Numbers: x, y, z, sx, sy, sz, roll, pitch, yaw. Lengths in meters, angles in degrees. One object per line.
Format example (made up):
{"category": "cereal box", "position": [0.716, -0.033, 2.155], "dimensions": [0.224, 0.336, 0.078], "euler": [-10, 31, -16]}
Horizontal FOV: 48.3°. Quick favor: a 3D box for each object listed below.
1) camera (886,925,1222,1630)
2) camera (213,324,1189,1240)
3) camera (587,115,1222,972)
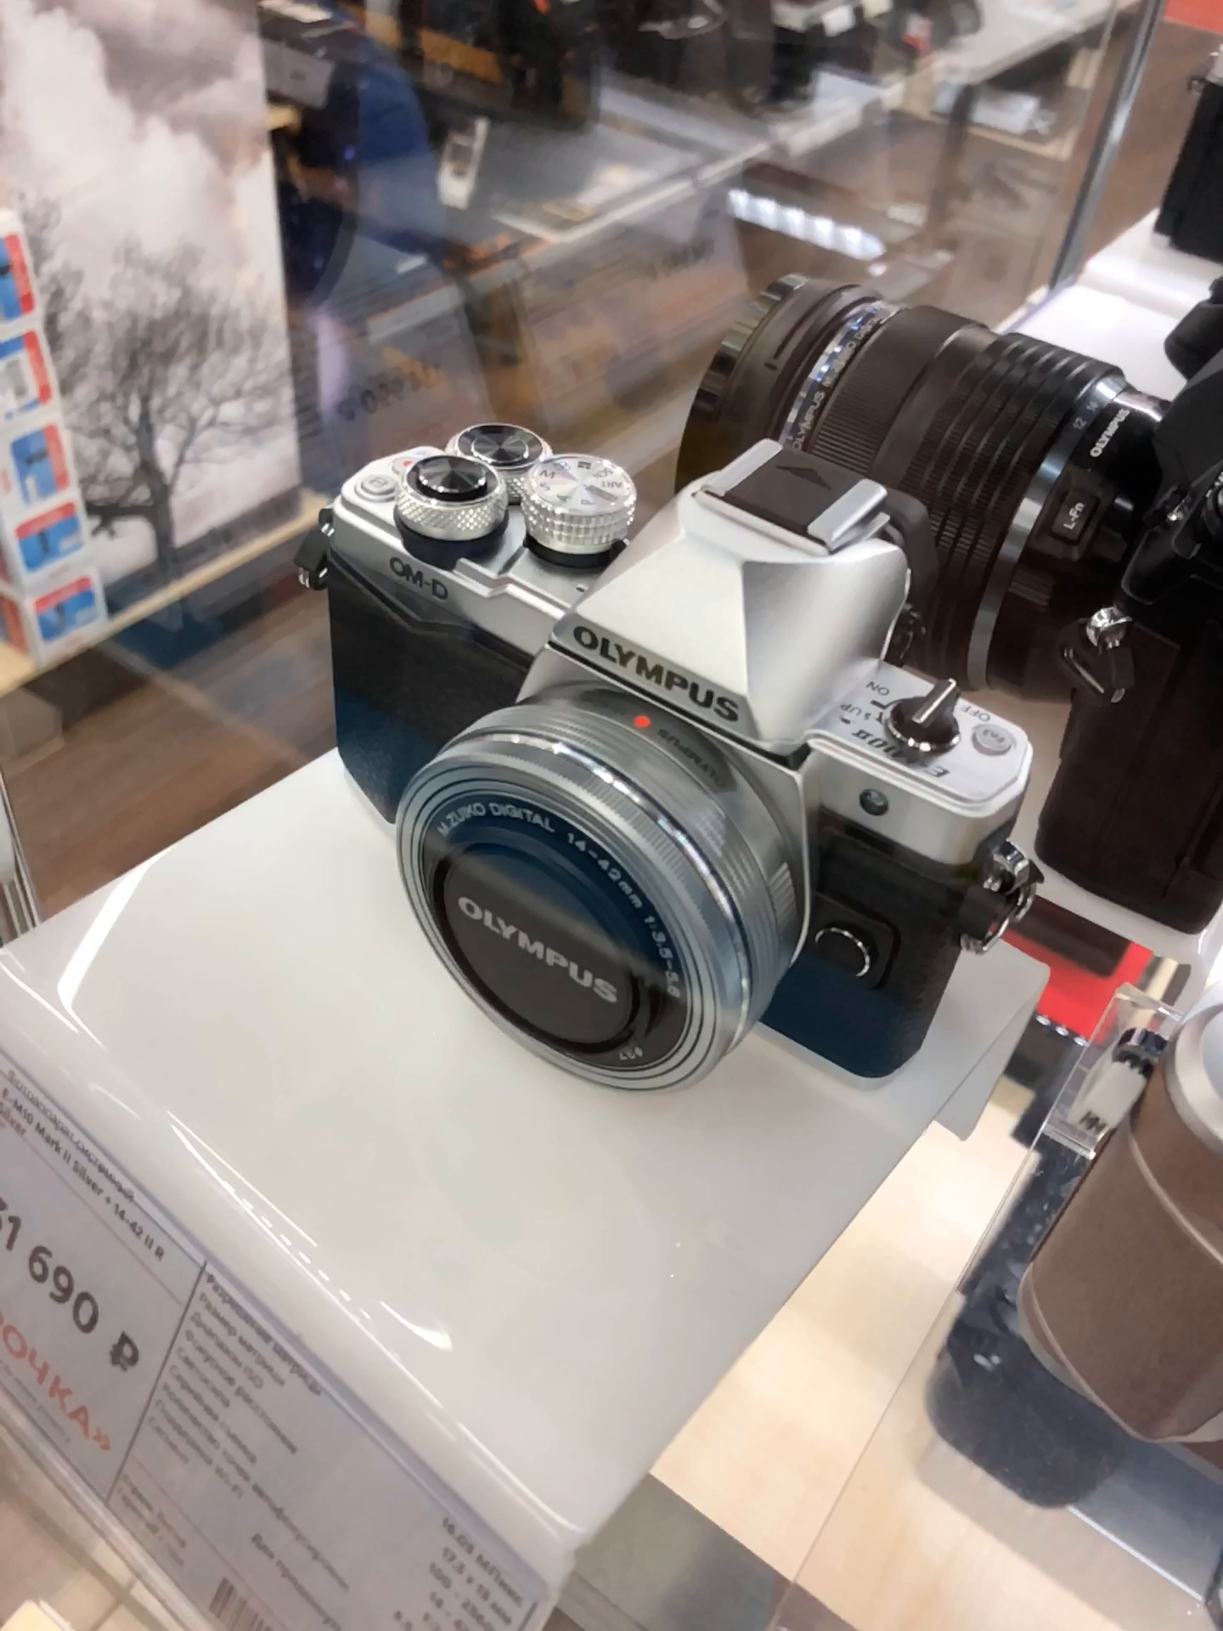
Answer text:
{"category": "camera", "position": [0.114, 0.085, 0.152], "dimensions": [0.139, 0.062, 0.065], "euler": [29, 48, 21]}
{"category": "camera", "position": [0.009, -0.011, 0.221], "dimensions": [0.120, 0.080, 0.072], "euler": [29, 47, 21]}
{"category": "camera", "position": [0.083, -0.062, 0.267], "dimensions": [0.137, 0.087, 0.102], "euler": [30, 48, 22]}
